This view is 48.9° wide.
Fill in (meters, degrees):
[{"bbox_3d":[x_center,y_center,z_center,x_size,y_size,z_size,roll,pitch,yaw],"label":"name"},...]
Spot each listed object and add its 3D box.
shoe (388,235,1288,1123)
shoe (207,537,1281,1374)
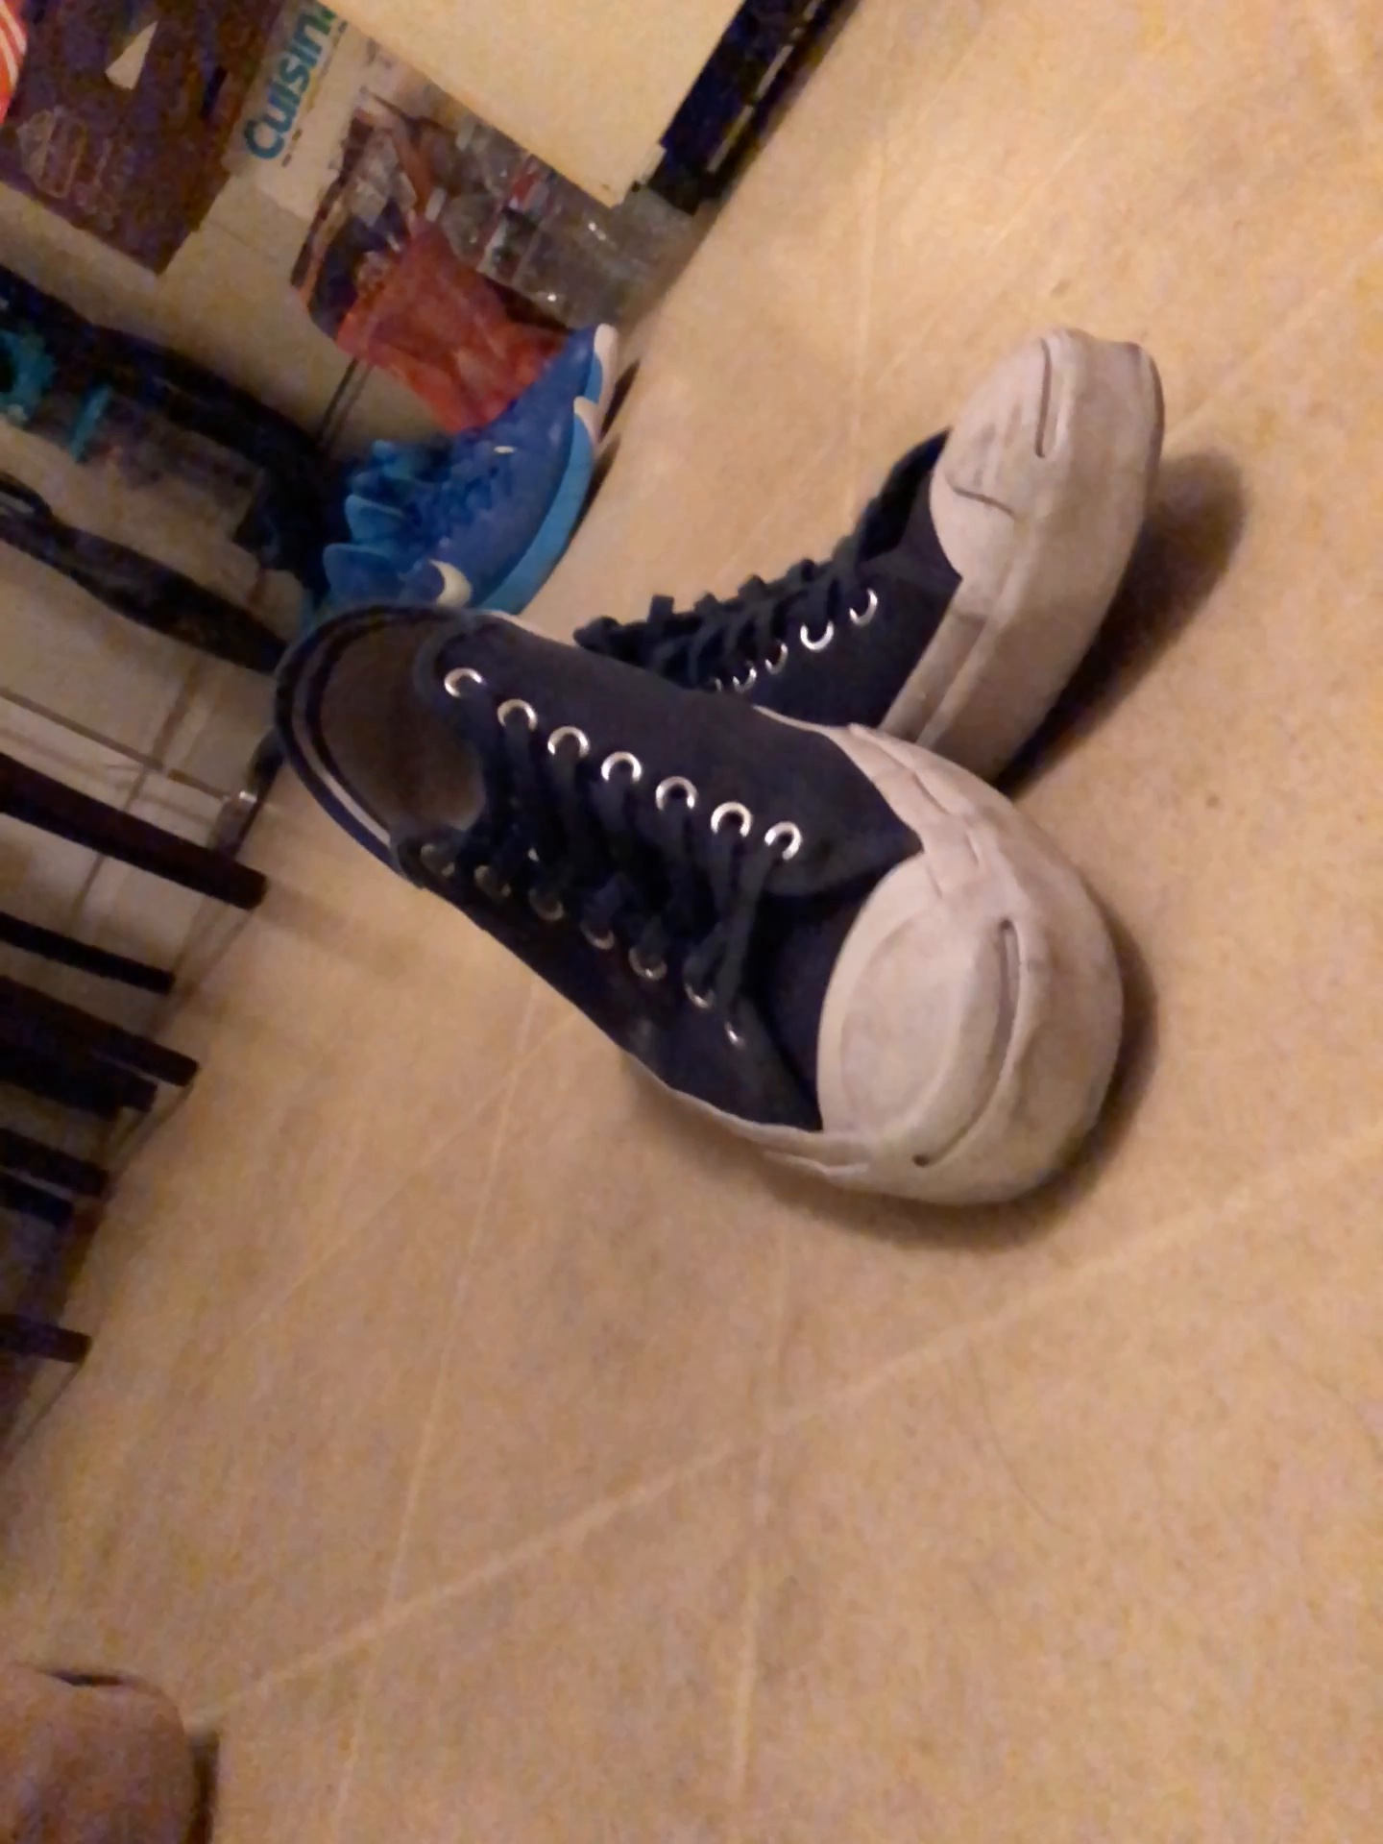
[{"bbox_3d":[0.024,-0.054,0.474,0.291,0.080,0.110,-36,37,38],"label":"shoe"},{"bbox_3d":[-0.017,-0.017,0.395,0.292,0.100,0.100,31,113,47],"label":"shoe"}]
